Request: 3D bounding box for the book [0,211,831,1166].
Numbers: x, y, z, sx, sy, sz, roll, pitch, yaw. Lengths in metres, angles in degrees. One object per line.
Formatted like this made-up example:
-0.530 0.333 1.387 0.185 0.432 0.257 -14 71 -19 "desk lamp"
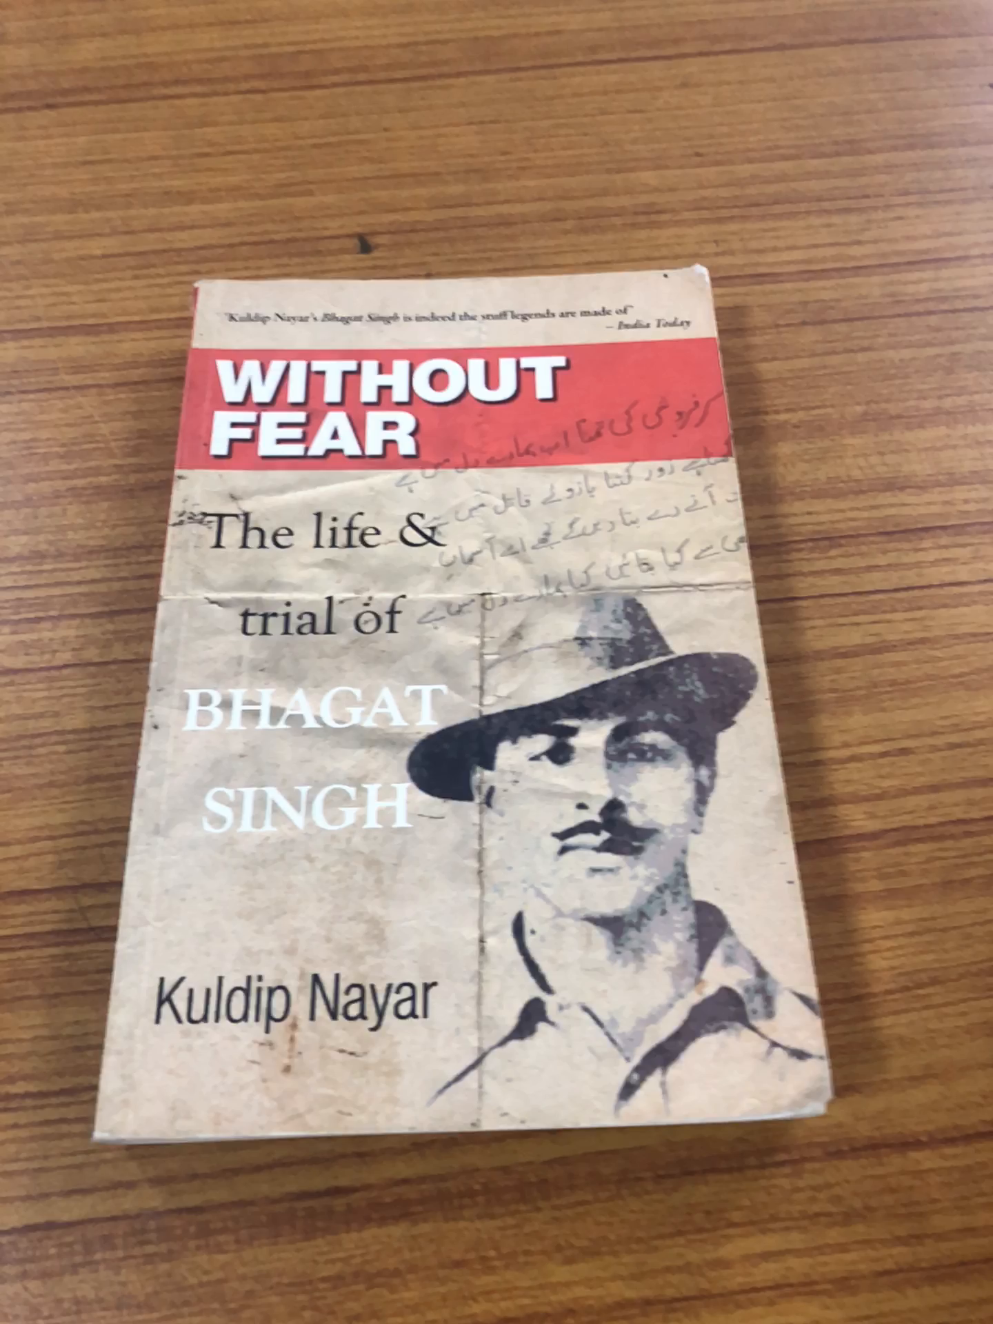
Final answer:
-0.017 -0.008 0.241 0.140 0.030 0.210 -1 64 0 "book"
